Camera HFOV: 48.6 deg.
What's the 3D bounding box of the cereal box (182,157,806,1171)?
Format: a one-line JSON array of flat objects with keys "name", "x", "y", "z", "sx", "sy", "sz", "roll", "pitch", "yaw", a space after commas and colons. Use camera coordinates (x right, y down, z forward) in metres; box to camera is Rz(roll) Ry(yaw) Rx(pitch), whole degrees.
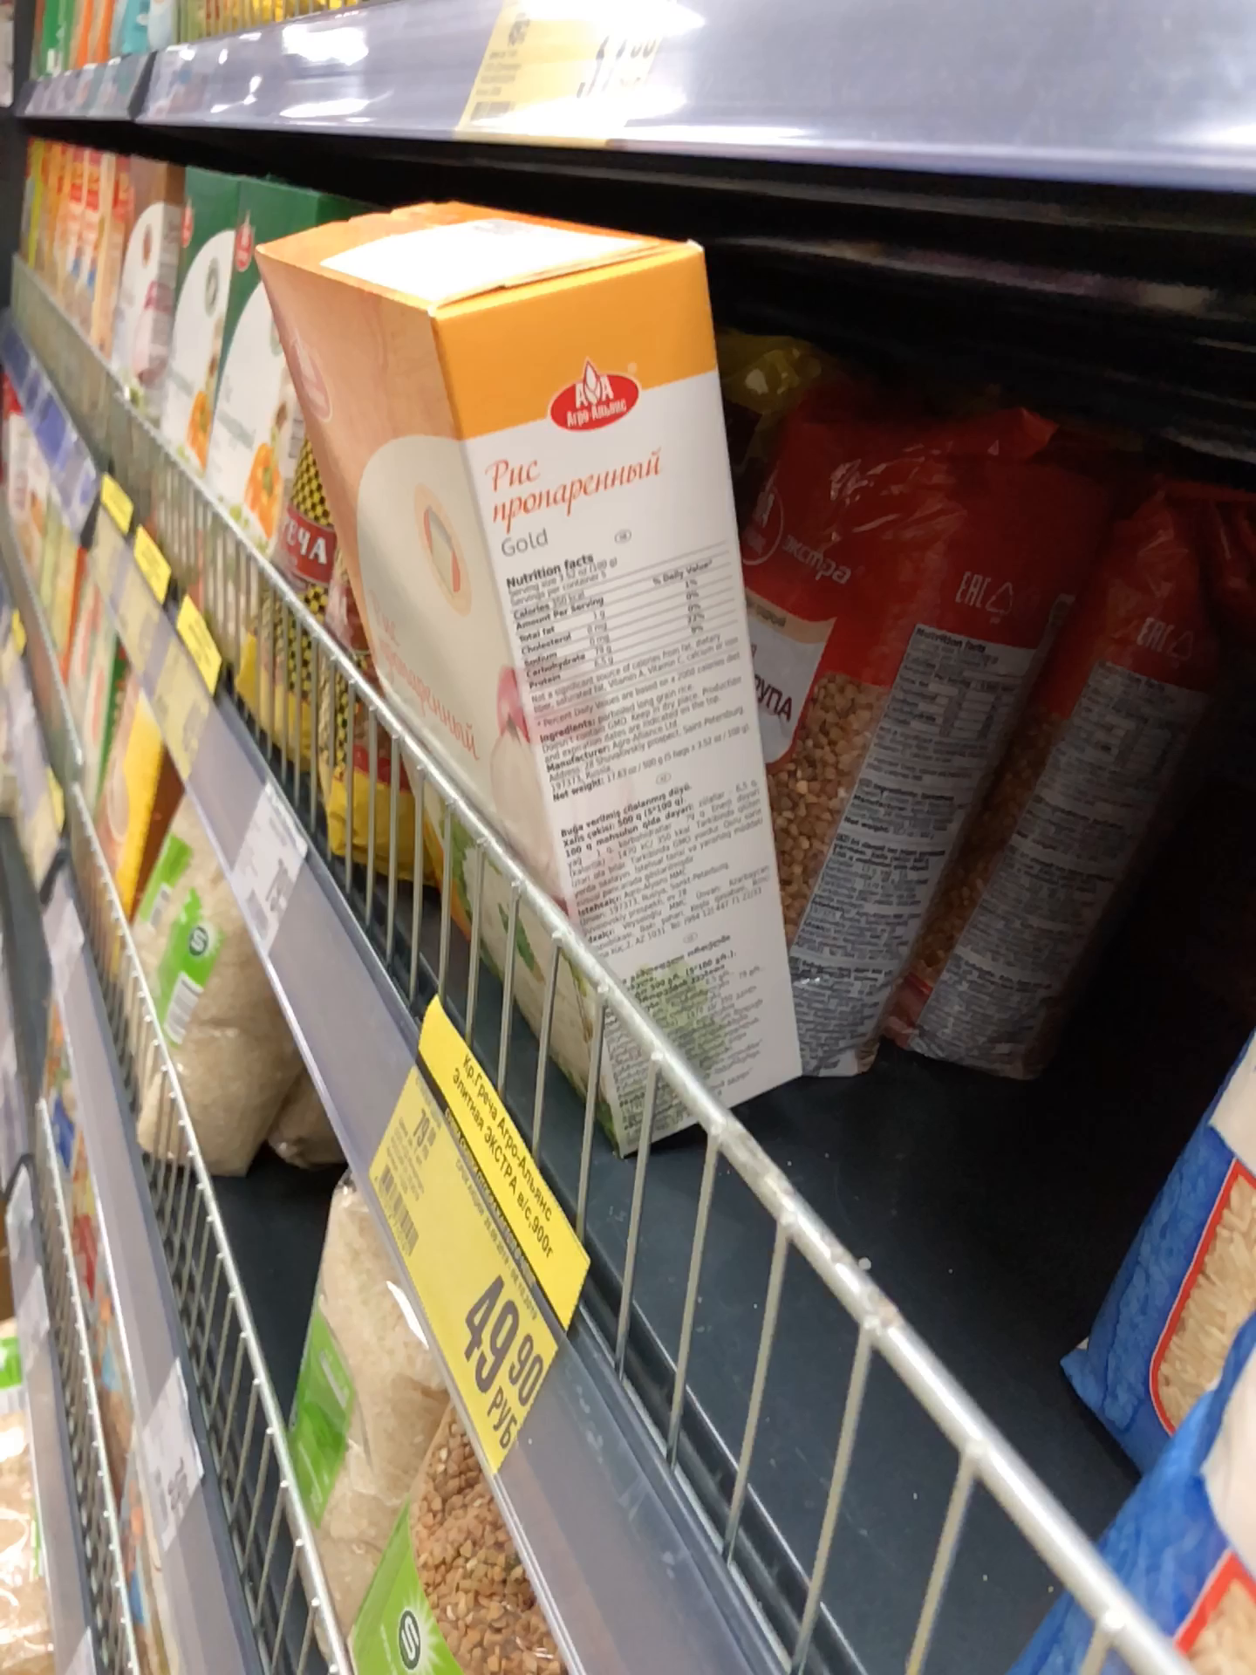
[{"name": "cereal box", "x": -0.030, "y": -0.046, "z": 0.323, "sx": 0.060, "sy": 0.189, "sz": 0.140, "roll": -22, "pitch": 34, "yaw": -17}]
